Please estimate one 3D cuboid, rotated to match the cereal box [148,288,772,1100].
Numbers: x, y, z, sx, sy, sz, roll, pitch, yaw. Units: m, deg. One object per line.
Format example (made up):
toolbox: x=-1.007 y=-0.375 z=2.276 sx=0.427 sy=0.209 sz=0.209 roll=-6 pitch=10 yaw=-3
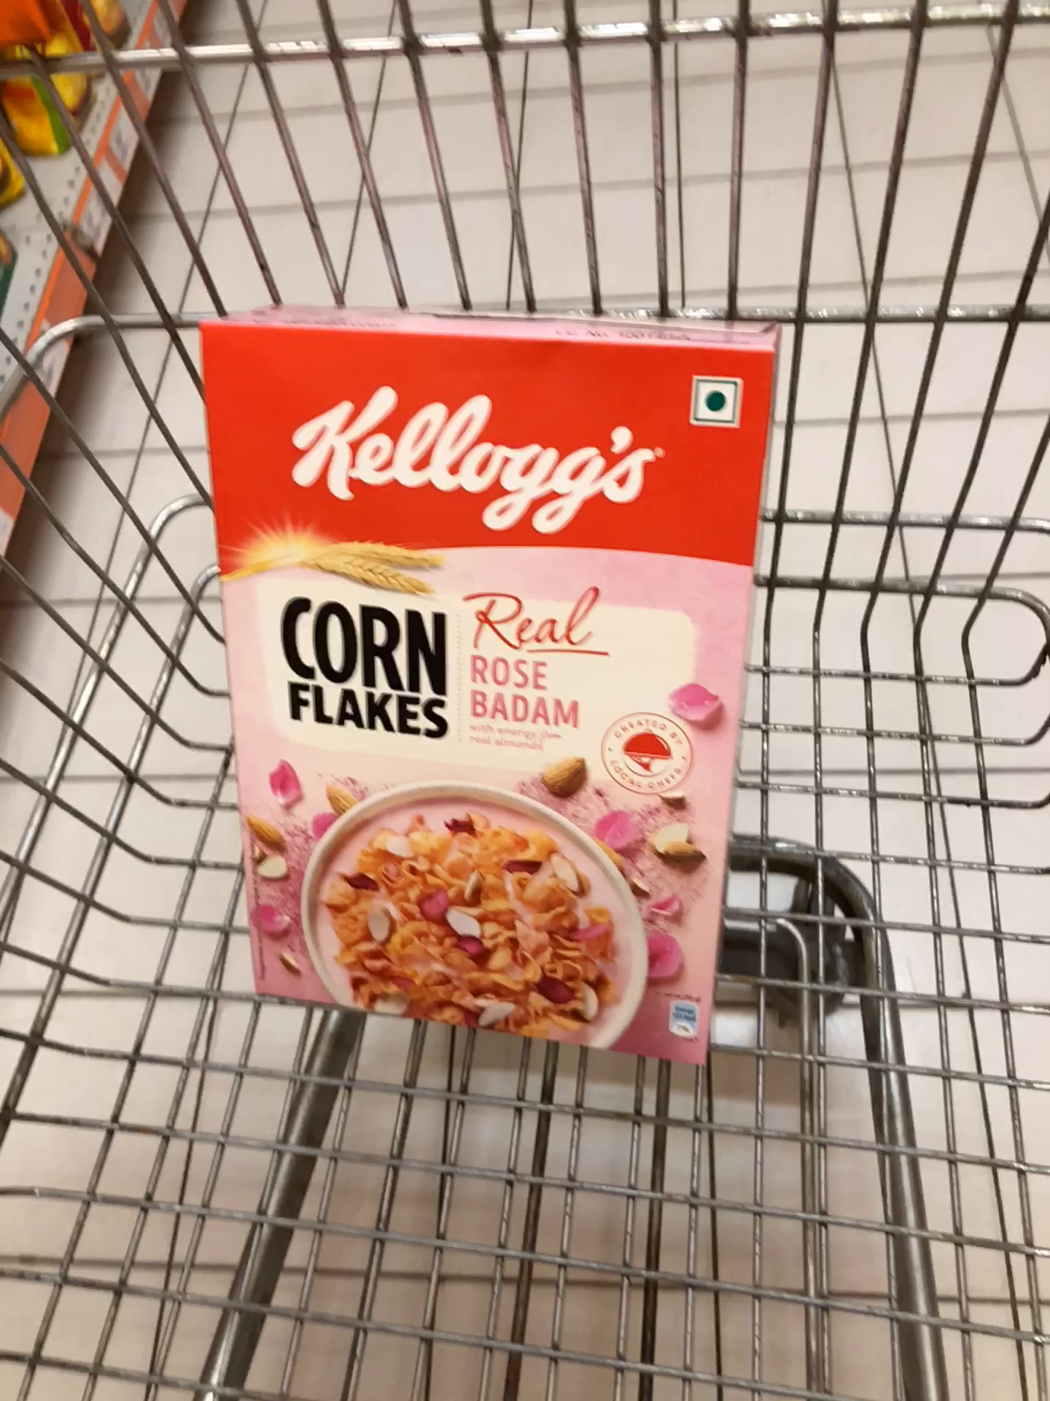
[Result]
cereal box: x=-0.018 y=-0.004 z=0.413 sx=0.180 sy=0.259 sz=0.080 roll=6 pitch=23 yaw=11
